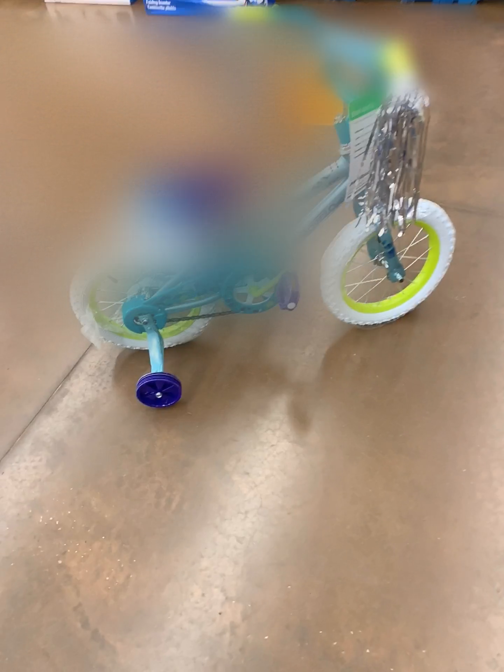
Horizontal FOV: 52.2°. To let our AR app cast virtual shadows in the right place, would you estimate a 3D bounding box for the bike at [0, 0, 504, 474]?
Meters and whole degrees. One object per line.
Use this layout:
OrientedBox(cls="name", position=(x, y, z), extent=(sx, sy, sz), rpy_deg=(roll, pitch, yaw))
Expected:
OrientedBox(cls="bike", position=(0.024, -0.241, 1.031), extent=(0.859, 0.639, 0.625), rpy_deg=(-13, 49, -5))
